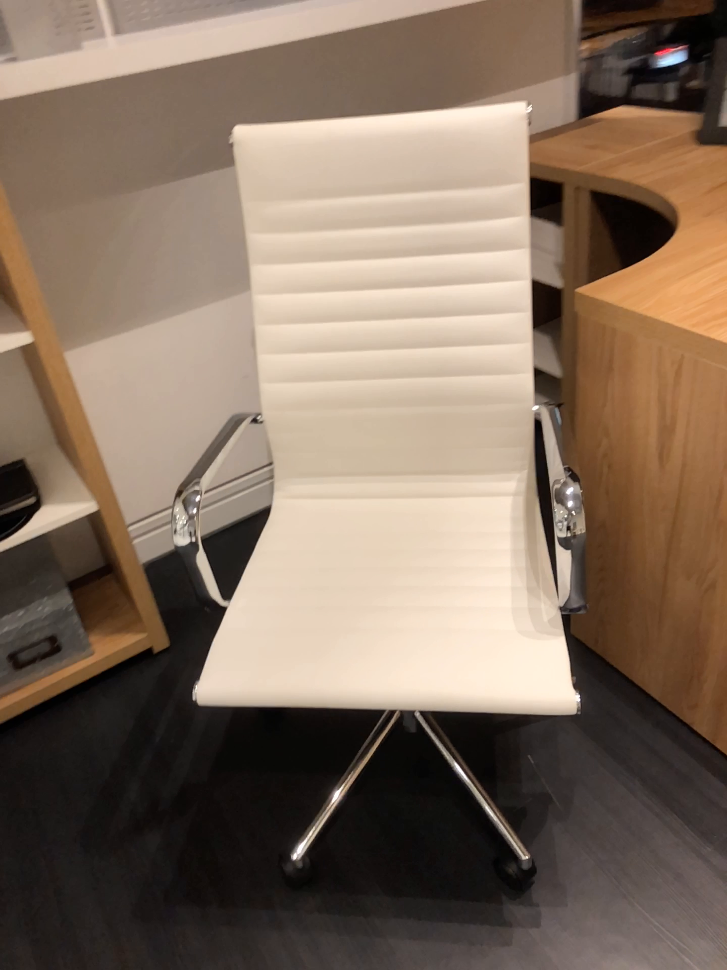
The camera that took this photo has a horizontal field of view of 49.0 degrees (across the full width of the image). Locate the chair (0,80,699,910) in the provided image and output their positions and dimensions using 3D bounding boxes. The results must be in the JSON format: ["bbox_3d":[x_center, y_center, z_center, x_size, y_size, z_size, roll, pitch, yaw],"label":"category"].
[{"bbox_3d":[0.053,0.036,1.209,0.630,1.012,0.635,-1,35,10],"label":"chair"}]
